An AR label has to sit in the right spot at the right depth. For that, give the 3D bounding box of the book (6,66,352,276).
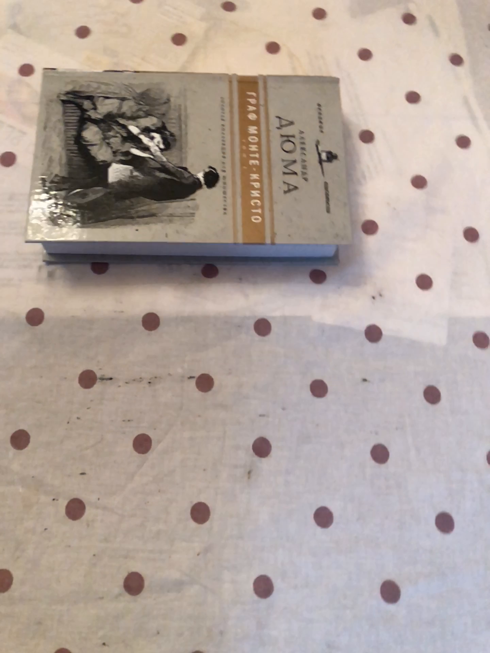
[{"bbox_3d":[-0.041,-0.105,0.367,0.208,0.040,0.135,0,72,-3],"label":"book"}]
